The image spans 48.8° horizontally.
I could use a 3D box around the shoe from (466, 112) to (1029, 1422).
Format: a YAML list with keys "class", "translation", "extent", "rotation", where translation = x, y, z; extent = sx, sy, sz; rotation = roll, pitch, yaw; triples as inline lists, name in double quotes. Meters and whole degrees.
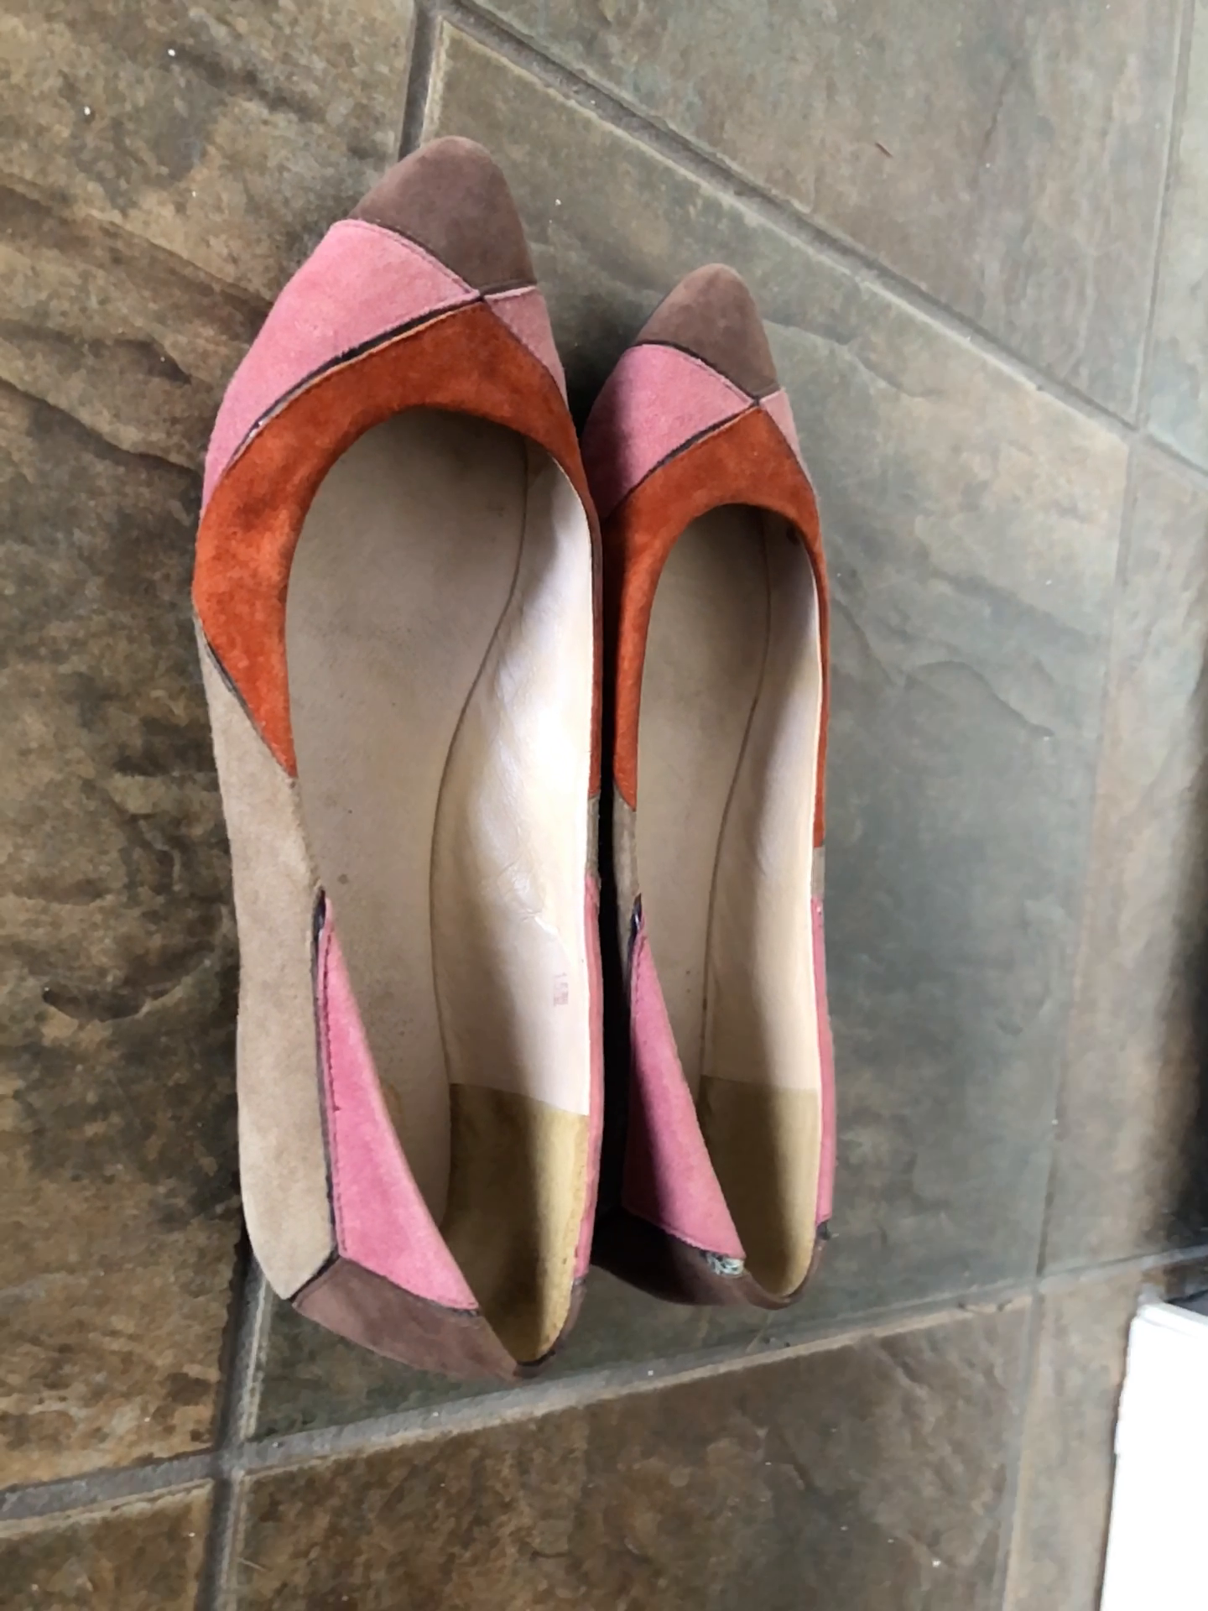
- class: "shoe"
  translation: [0.036, -0.007, 0.329]
  extent: [0.090, 0.070, 0.270]
  rotation: [6, 90, -41]

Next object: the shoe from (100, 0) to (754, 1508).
- class: "shoe"
  translation: [-0.036, -0.016, 0.278]
  extent: [0.090, 0.070, 0.270]
  rotation: [4, 91, -41]
